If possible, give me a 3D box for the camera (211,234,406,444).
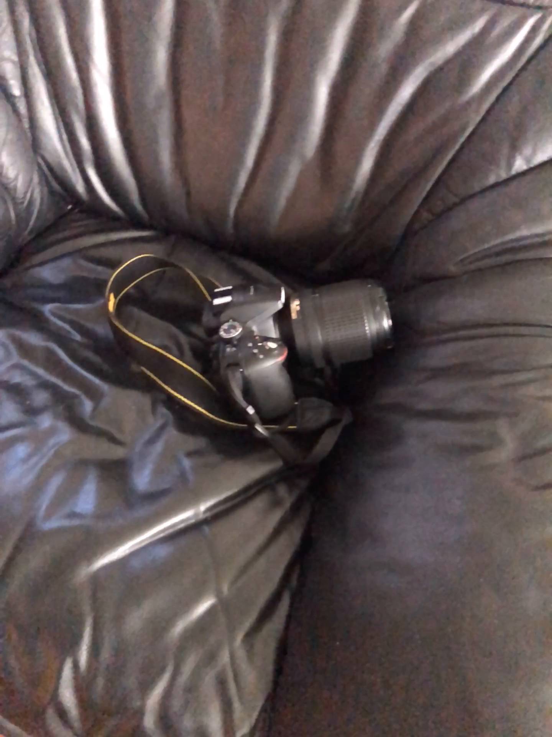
[{"bbox_3d":[0.033,-0.030,0.638,0.170,0.130,0.140,-10,46,6],"label":"camera"}]
